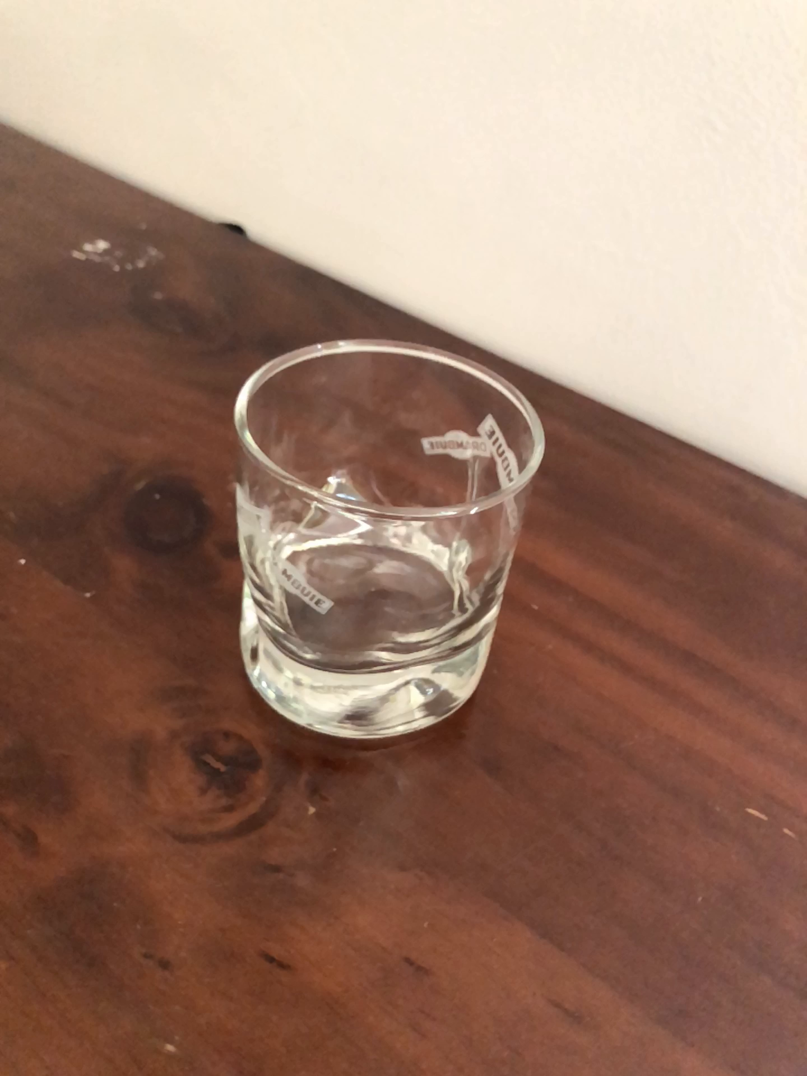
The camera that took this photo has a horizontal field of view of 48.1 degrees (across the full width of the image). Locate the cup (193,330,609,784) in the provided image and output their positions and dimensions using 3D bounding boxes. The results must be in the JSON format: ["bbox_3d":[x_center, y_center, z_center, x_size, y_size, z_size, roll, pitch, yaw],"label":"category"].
[{"bbox_3d":[-0.009,0.001,0.248,0.081,0.080,0.082,5,41,-5],"label":"cup"}]
